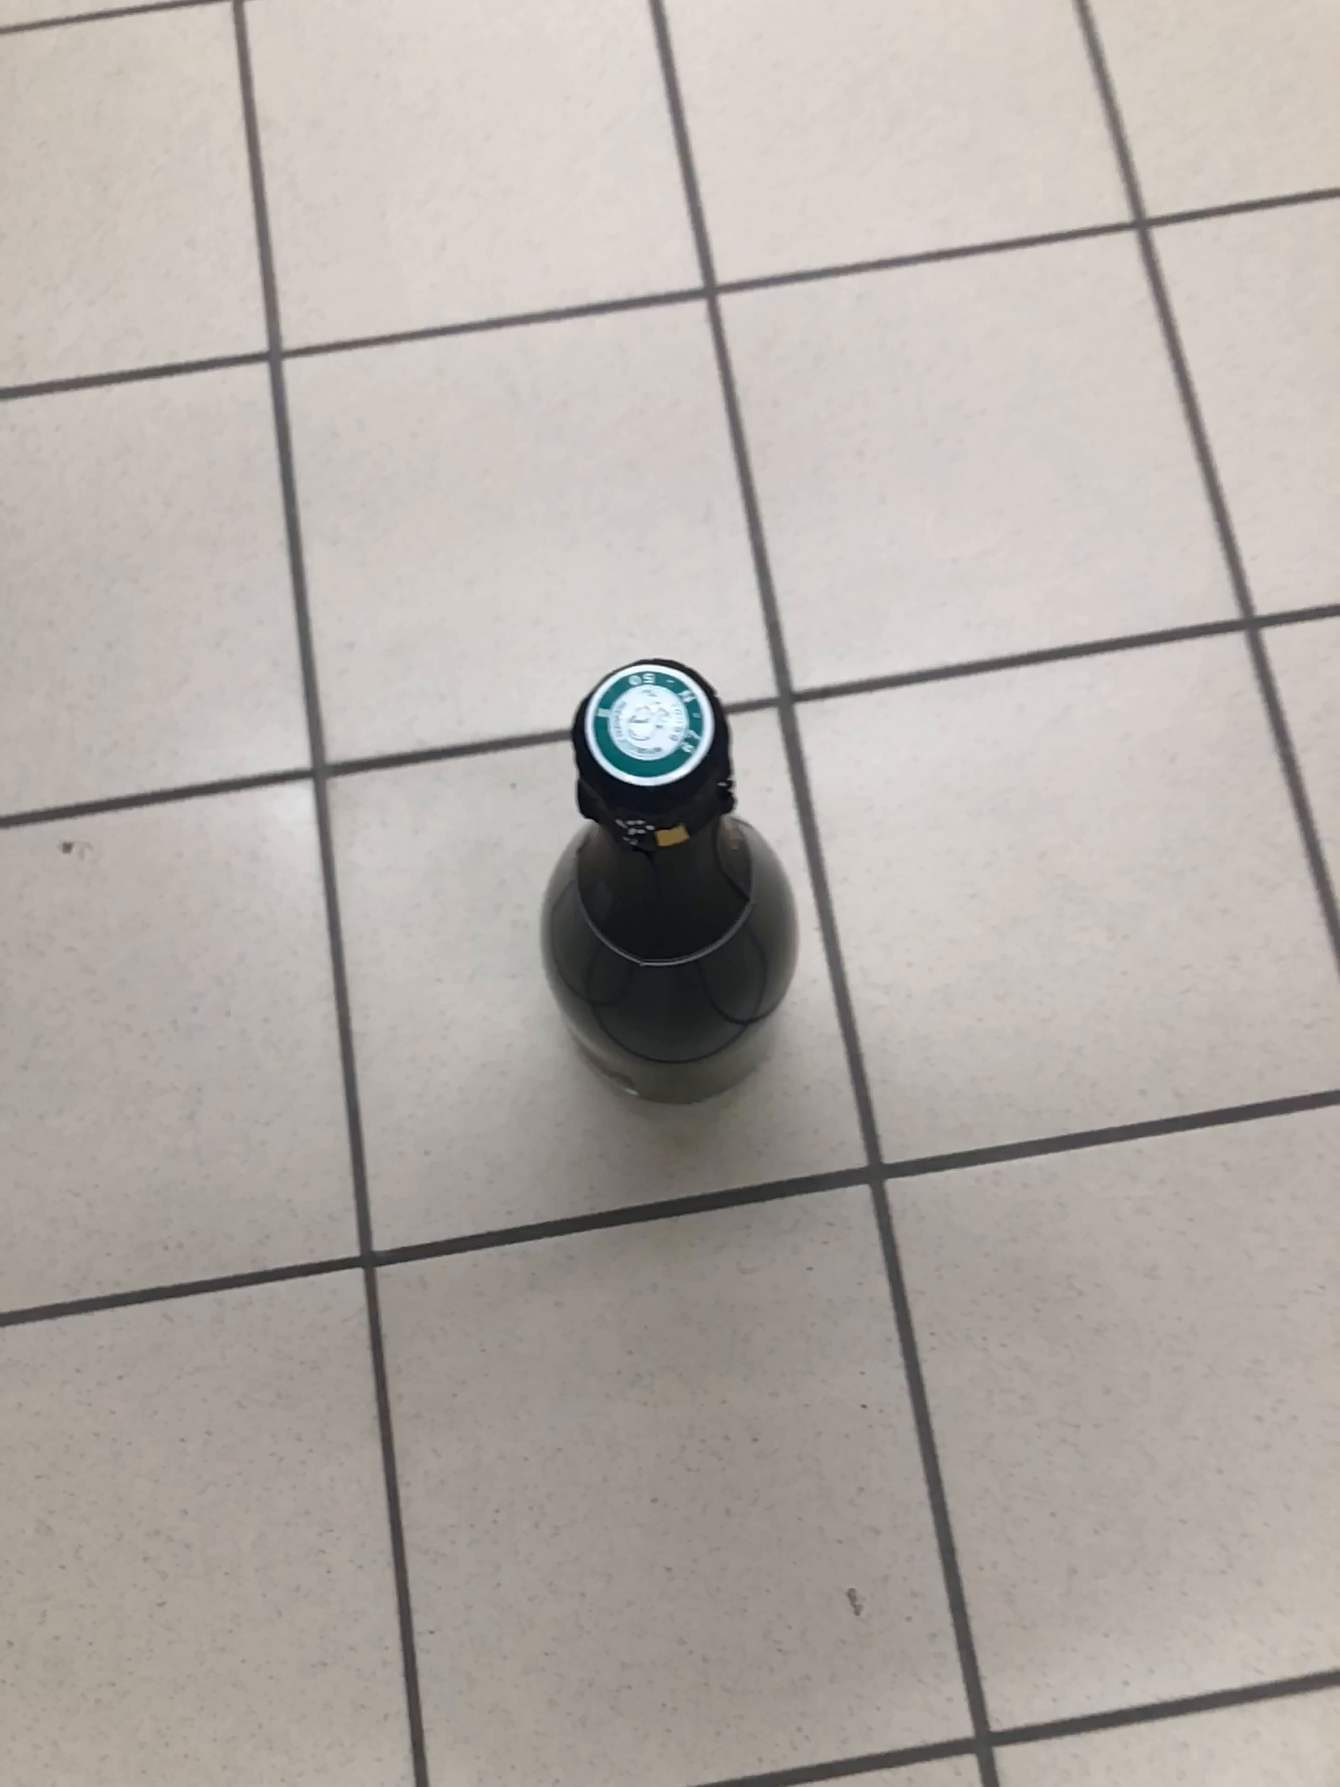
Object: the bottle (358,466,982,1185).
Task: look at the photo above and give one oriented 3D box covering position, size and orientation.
[{"bbox_3d":[0.001,0.012,0.449,0.090,0.310,0.100,-27,76,-6],"label":"bottle"}]
